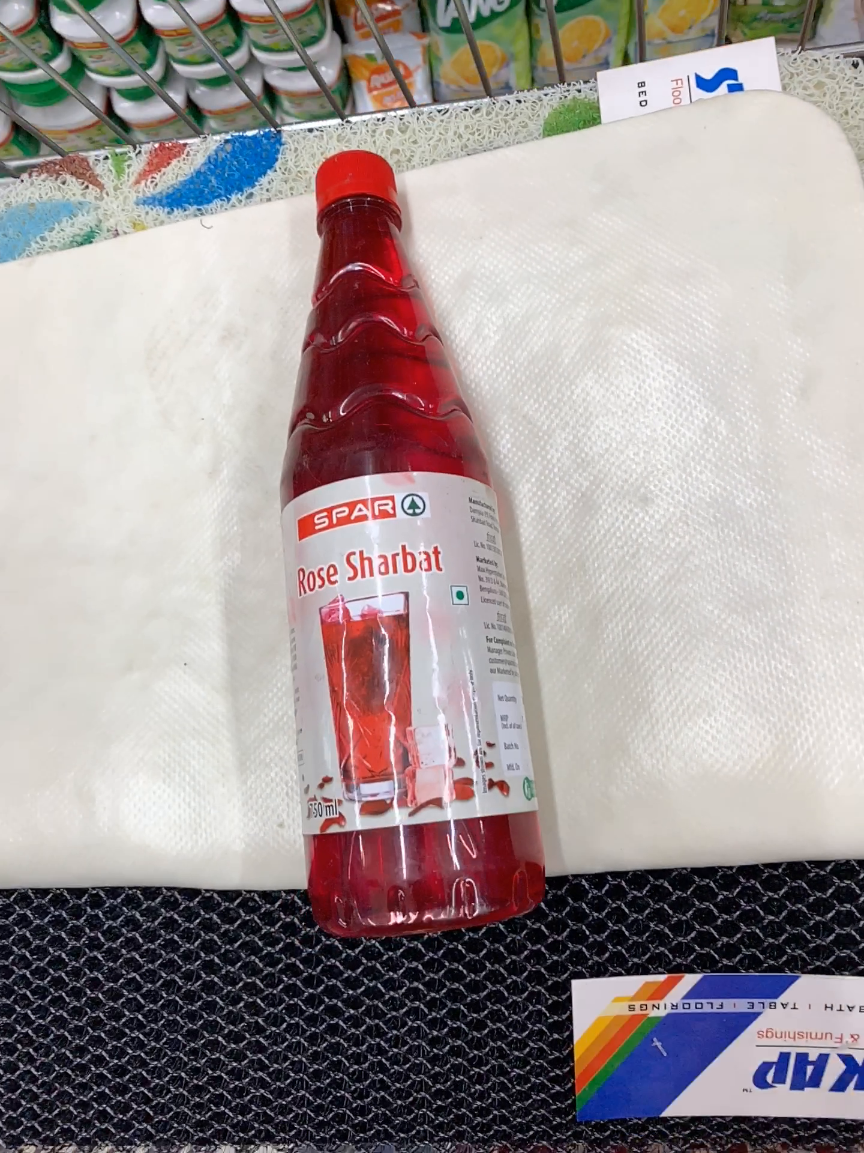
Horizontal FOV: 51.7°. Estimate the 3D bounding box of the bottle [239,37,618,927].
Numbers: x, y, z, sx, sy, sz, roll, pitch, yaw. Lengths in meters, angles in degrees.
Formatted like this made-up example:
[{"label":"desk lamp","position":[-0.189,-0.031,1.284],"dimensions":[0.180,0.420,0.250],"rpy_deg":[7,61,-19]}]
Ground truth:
[{"label":"bottle","position":[-0.002,-0.027,0.263],"dimensions":[0.070,0.070,0.230],"rpy_deg":[-10,76,12]}]
